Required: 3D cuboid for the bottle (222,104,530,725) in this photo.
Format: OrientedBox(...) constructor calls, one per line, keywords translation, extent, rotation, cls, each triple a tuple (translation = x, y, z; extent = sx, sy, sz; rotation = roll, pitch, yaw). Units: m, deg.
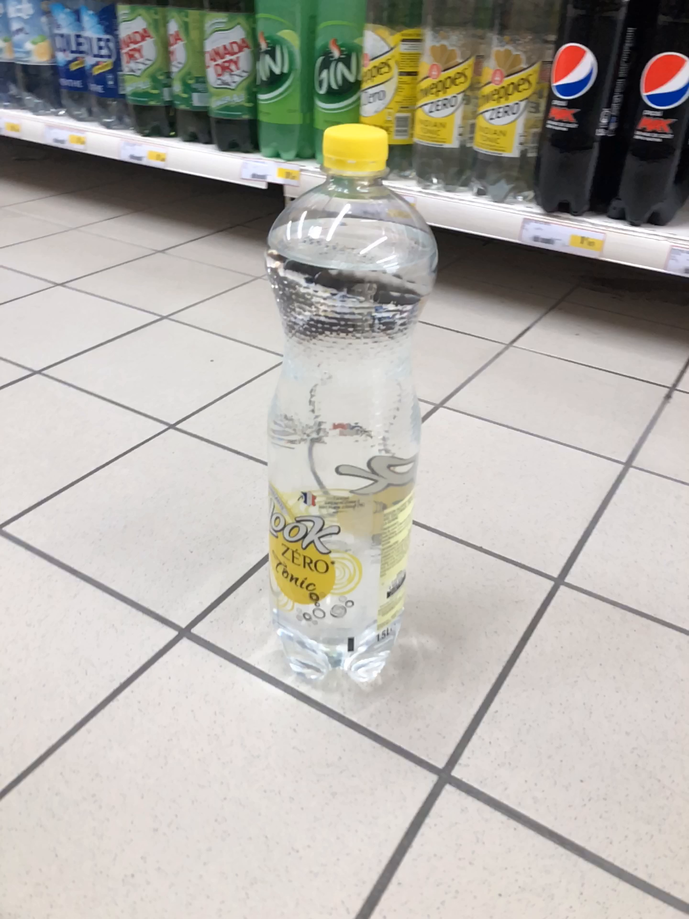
OrientedBox(translation=(0.010, -0.016, 0.424), extent=(0.100, 0.318, 0.101), rotation=(2, 31, -1), cls="bottle")
